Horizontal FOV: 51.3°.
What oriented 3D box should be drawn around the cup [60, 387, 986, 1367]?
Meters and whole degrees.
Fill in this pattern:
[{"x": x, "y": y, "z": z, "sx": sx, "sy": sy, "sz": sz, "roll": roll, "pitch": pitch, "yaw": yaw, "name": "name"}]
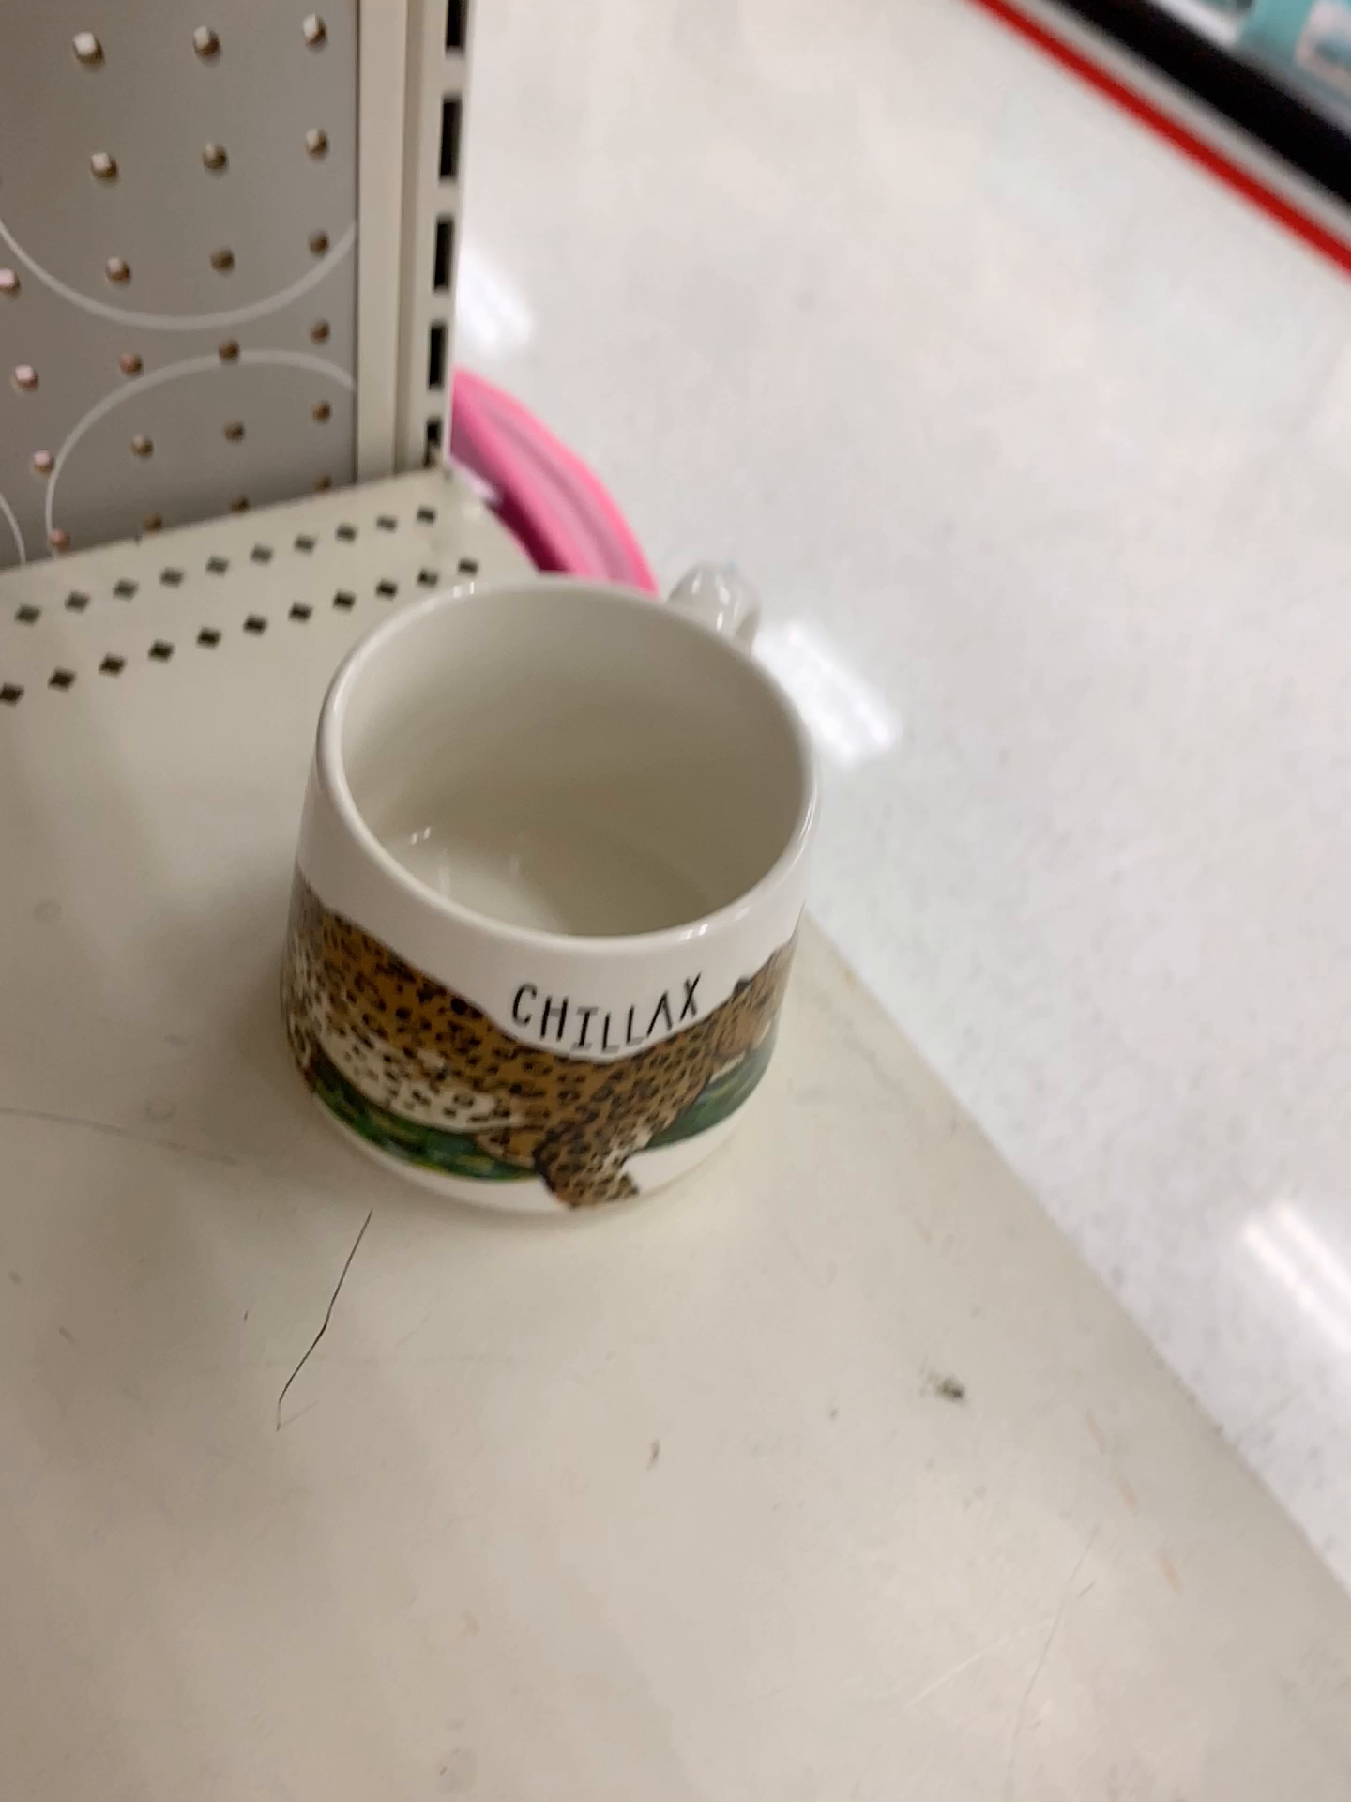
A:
[{"x": -0.022, "y": -0.009, "z": 0.280, "sx": 0.110, "sy": 0.090, "sz": 0.141, "roll": 24, "pitch": 52, "yaw": 6, "name": "cup"}]
